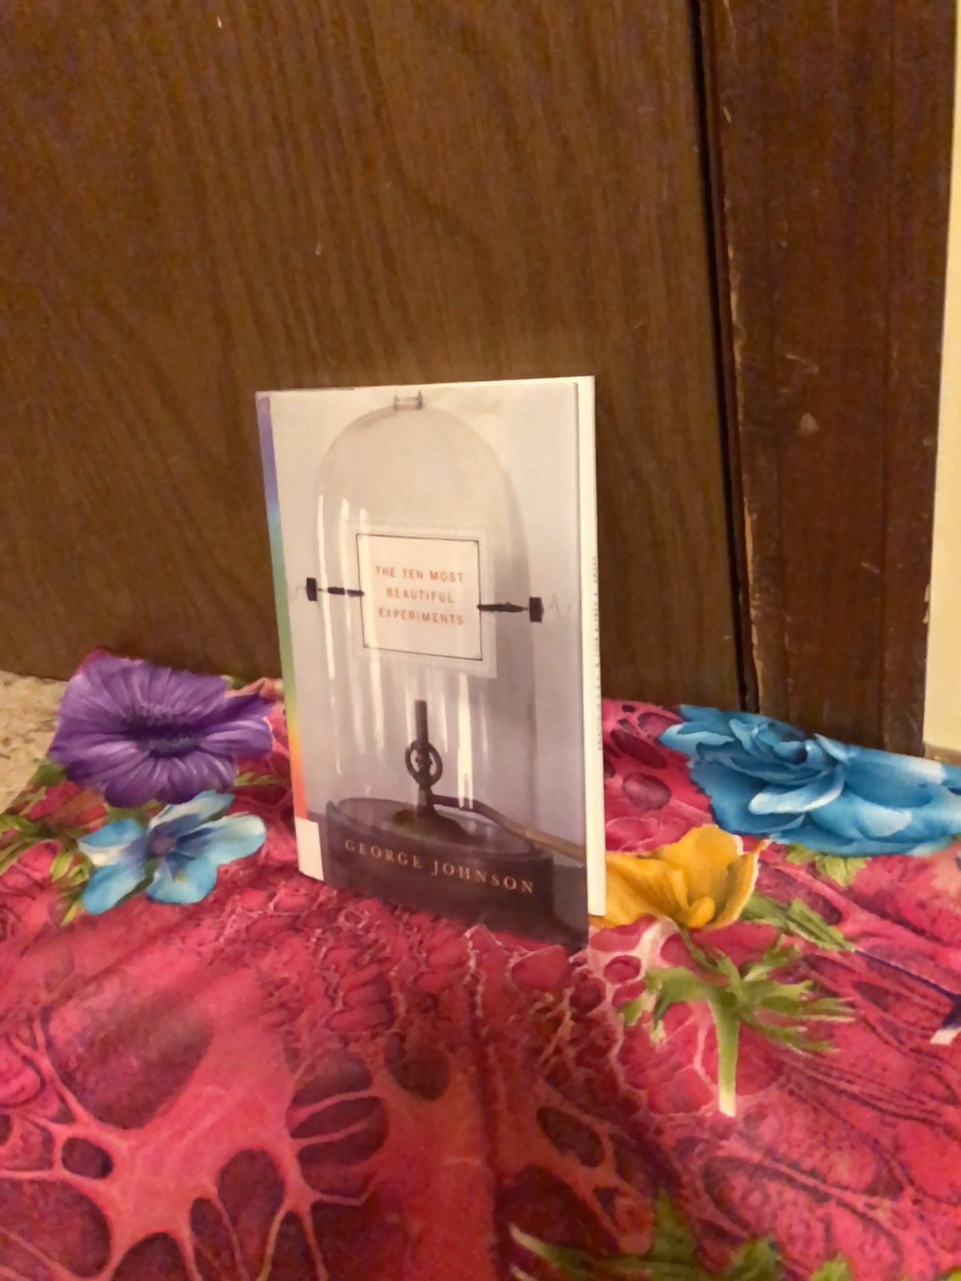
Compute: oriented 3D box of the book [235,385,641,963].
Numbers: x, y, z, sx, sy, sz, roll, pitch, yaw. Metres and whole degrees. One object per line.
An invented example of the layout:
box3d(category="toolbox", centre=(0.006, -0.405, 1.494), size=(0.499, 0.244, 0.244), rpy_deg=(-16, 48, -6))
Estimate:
box3d(category="book", centre=(-0.015, 0.007, 0.384), size=(0.140, 0.190, 0.033), rpy_deg=(5, 15, 27))
